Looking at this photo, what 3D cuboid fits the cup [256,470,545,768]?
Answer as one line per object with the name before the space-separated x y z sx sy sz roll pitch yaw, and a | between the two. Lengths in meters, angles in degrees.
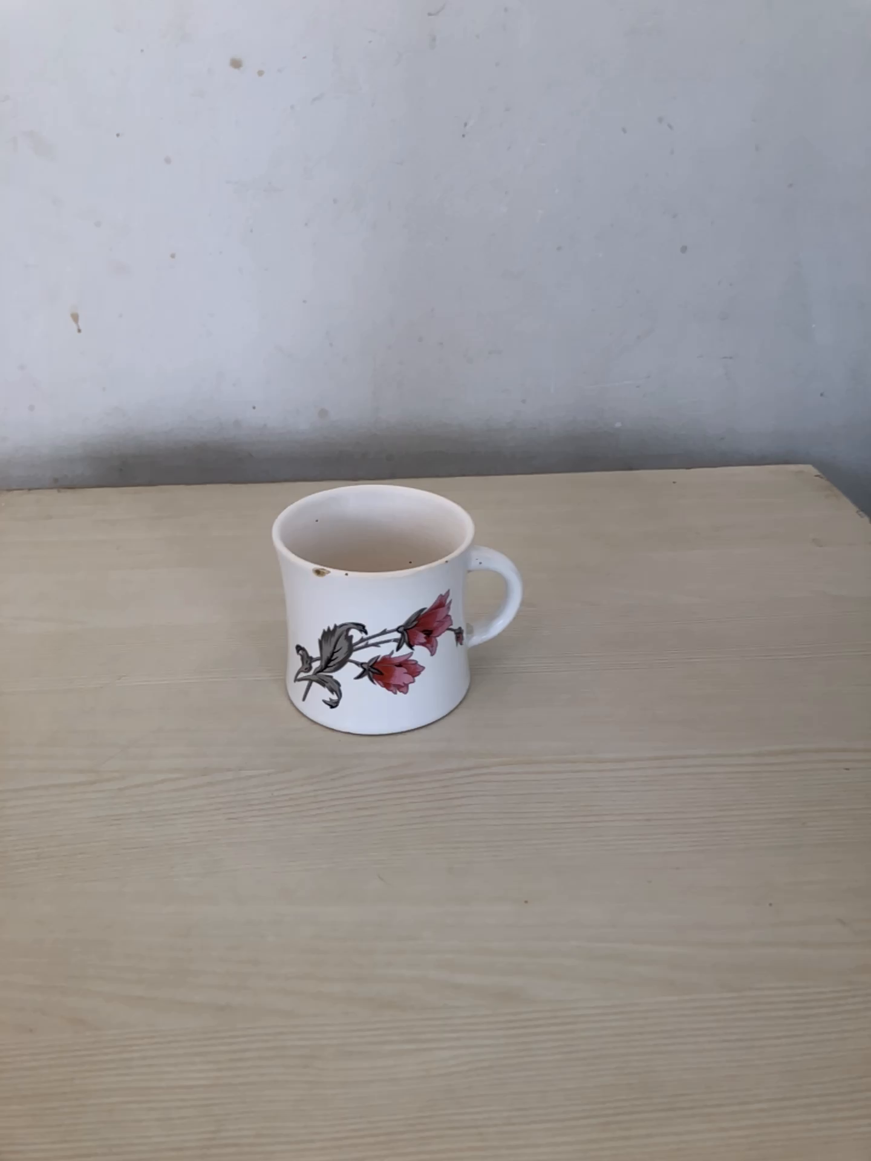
cup | -0.016 0.010 0.349 0.090 0.070 0.080 -4 29 -7
